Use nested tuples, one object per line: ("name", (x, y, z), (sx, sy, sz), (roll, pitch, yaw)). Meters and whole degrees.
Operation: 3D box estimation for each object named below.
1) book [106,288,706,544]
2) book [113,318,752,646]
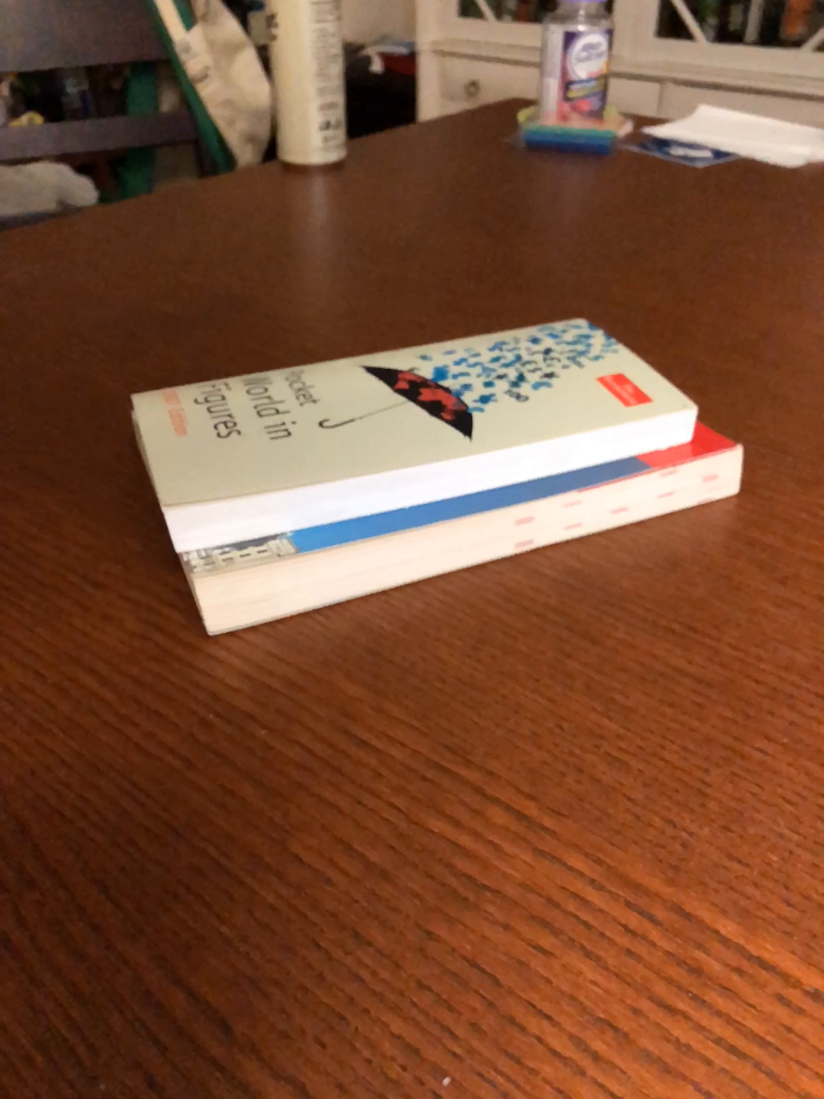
("book", (-0.006, -0.058, 0.345), (0.200, 0.020, 0.101), (-13, 37, -15))
("book", (0.000, -0.041, 0.362), (0.210, 0.020, 0.141), (-14, 38, -17))
